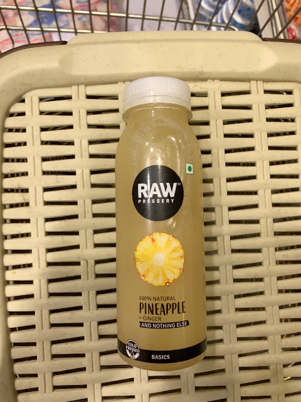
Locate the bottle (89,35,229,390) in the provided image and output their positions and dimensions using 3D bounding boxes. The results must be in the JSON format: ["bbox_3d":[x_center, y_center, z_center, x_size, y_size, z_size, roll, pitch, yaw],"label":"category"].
[{"bbox_3d":[0.001,0.003,0.169,0.060,0.050,0.160,-1,85,-5],"label":"bottle"}]
